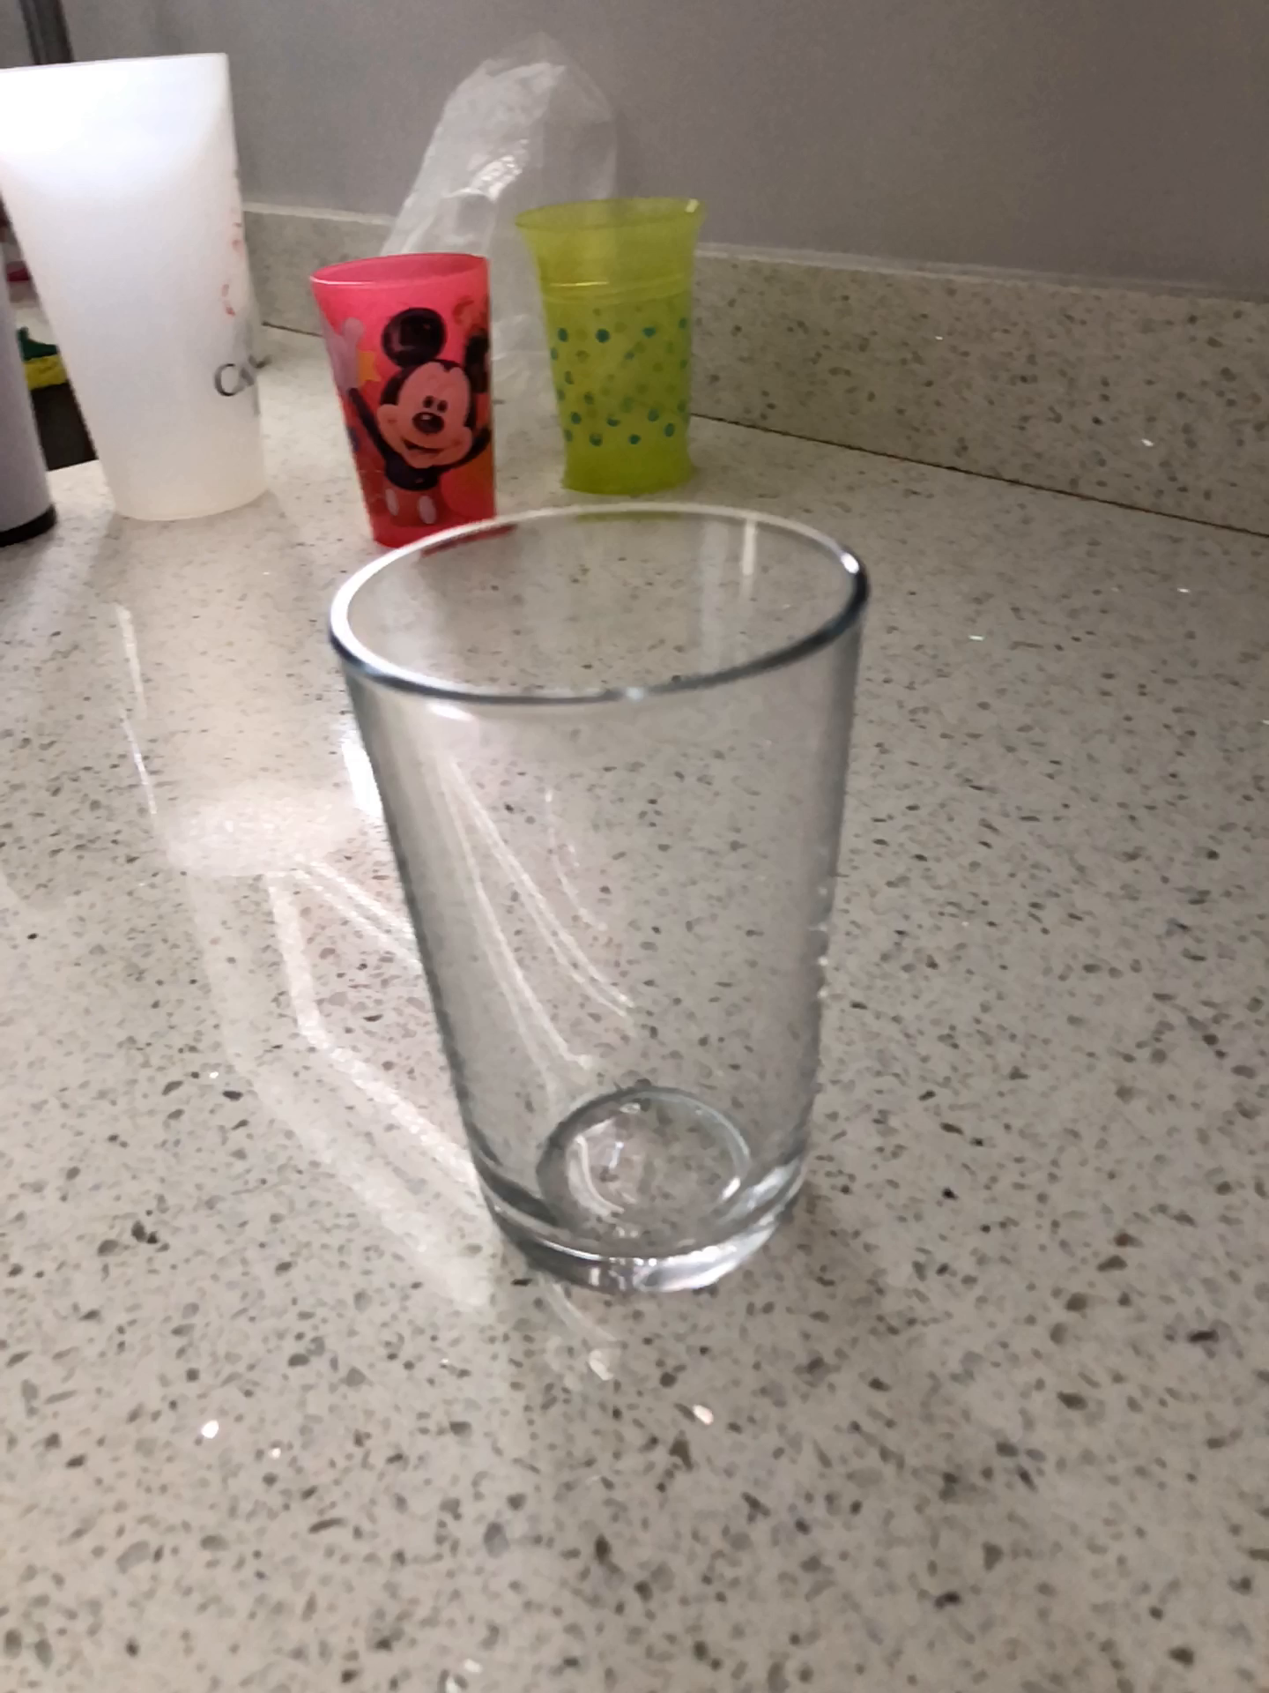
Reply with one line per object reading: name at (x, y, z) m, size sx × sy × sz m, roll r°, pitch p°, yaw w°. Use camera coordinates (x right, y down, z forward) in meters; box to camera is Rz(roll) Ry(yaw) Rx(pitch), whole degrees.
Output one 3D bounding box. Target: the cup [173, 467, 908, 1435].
cup at (-0.003, 0.011, 0.212) m, size 0.074 × 0.114 × 0.080 m, roll -4°, pitch 30°, yaw 2°
